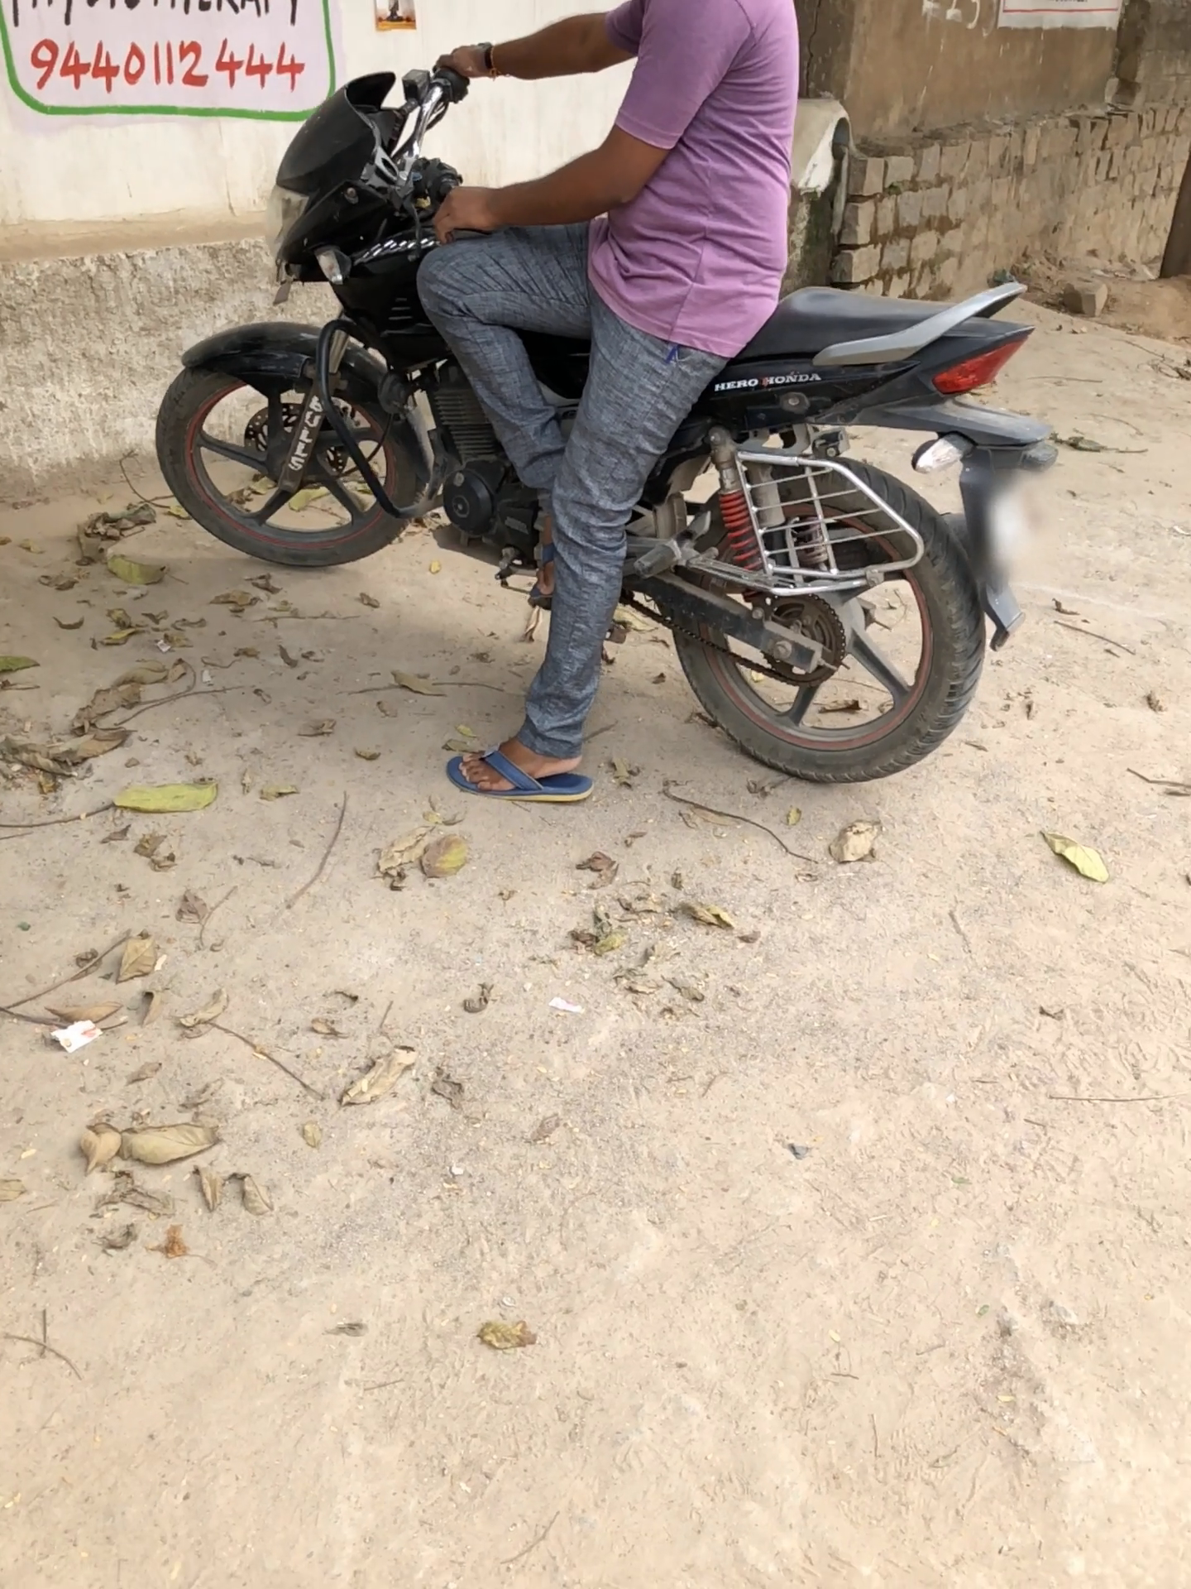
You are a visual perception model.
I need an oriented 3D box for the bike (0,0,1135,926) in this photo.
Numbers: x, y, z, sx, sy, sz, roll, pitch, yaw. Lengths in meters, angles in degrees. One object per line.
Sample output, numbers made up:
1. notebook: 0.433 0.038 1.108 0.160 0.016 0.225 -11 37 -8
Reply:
1. bike: -0.167 -0.752 2.433 1.836 1.190 0.830 18 35 21
